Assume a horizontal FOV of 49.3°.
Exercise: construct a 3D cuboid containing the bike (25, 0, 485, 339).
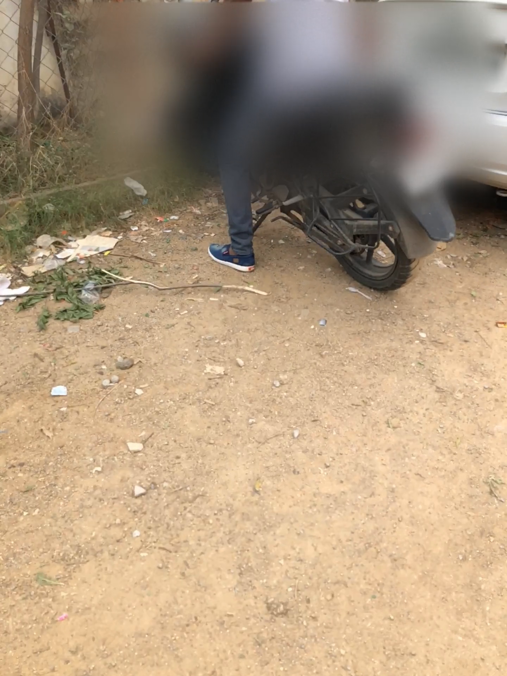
[{"bbox_3d":[-0.103,-0.961,2.123,0.529,1.095,1.621,-28,47,-33],"label":"bike"}]
